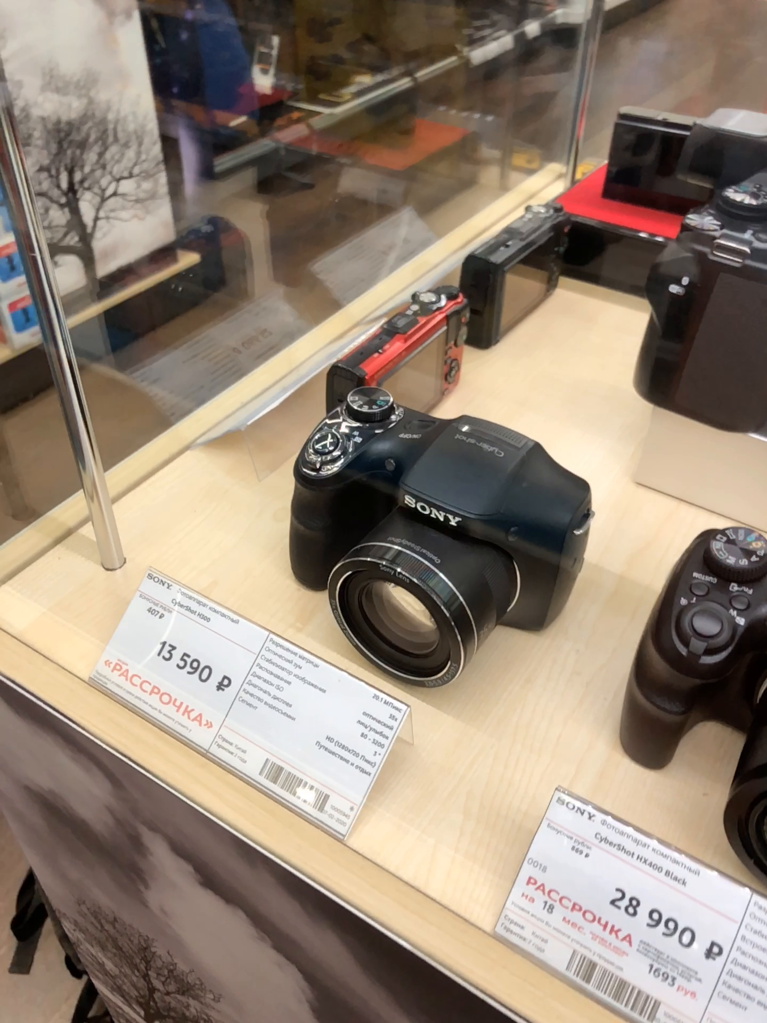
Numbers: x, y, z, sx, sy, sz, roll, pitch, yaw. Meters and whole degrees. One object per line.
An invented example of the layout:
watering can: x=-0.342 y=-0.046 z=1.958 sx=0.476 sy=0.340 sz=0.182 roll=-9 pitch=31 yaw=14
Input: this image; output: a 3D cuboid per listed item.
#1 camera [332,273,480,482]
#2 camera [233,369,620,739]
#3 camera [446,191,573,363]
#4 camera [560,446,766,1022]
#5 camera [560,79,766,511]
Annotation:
camera: x=0.014 y=-0.077 z=0.473 sx=0.026 sy=0.069 sz=0.112 roll=22 pitch=45 yaw=23
camera: x=0.017 y=0.012 z=0.362 sx=0.124 sy=0.078 sz=0.092 roll=24 pitch=46 yaw=25
camera: x=0.082 y=-0.154 z=0.550 sx=0.026 sy=0.069 sz=0.112 roll=24 pitch=46 yaw=25
camera: x=0.153 y=0.067 z=0.299 sx=0.124 sy=0.097 sz=0.125 roll=24 pitch=46 yaw=25
camera: x=0.190 y=-0.106 z=0.375 sx=0.168 sy=0.106 sz=0.132 roll=23 pitch=45 yaw=24
